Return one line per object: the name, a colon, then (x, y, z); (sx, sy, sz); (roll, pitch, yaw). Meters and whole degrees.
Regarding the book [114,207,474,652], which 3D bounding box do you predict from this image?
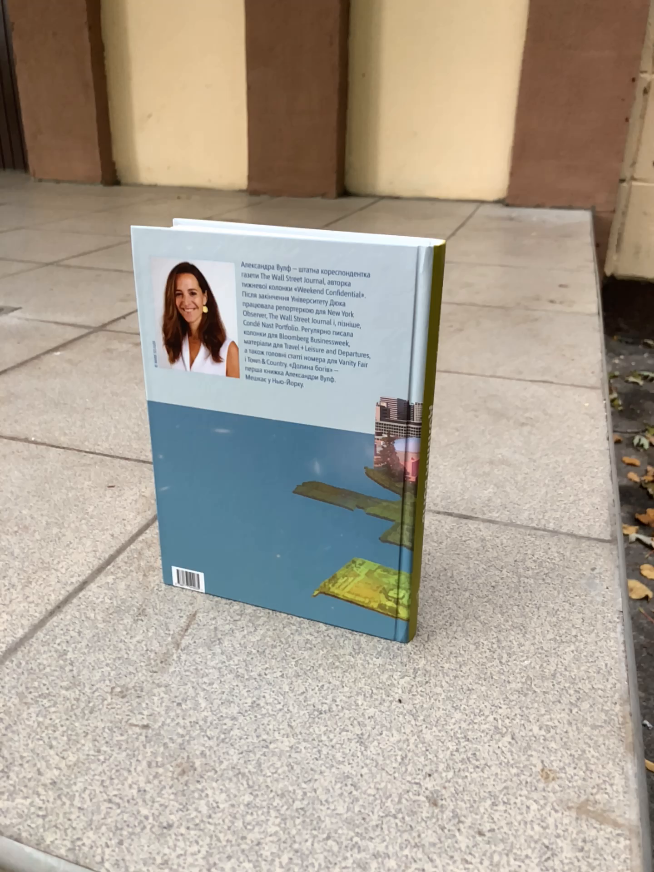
book: (-0.017, -0.003, 0.374); (0.160, 0.208, 0.045); (9, 26, 18)
